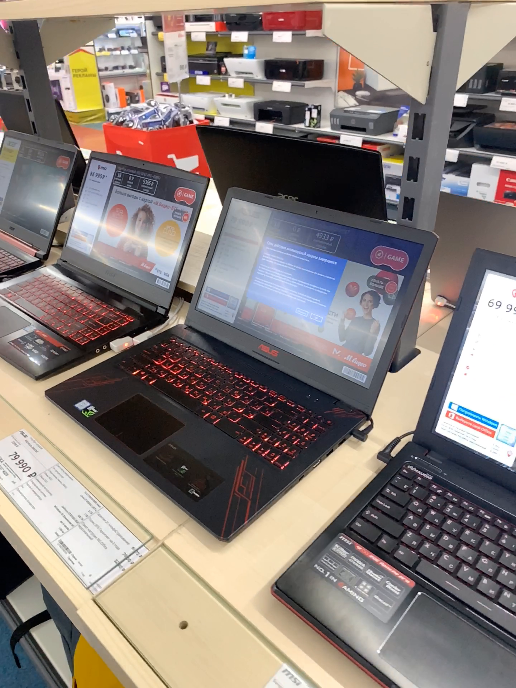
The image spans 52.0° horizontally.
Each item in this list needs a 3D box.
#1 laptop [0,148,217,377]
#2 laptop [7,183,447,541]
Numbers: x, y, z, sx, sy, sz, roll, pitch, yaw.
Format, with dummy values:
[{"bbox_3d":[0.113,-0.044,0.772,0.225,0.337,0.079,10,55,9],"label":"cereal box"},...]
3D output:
[{"bbox_3d":[-0.327,-0.173,0.912,0.339,0.209,0.353,25,41,36],"label":"laptop"},{"bbox_3d":[-0.035,-0.037,0.682,0.366,0.199,0.383,25,41,38],"label":"laptop"}]
